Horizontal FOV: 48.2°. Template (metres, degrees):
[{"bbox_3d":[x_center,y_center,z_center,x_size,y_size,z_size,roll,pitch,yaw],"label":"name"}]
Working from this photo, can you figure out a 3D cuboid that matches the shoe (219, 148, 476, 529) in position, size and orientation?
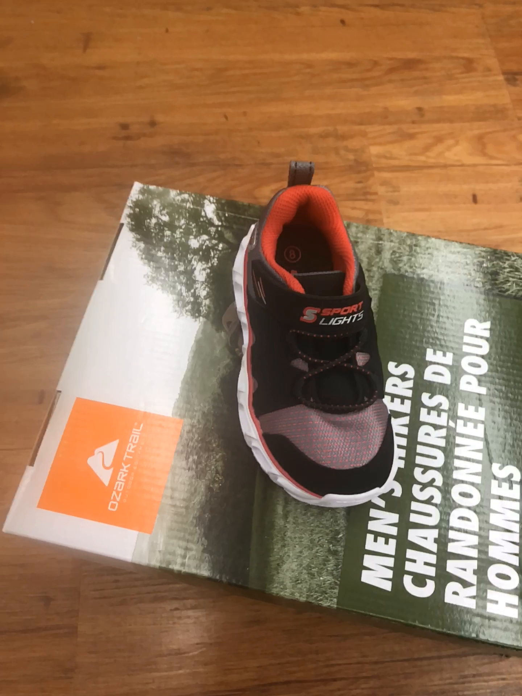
[{"bbox_3d":[0.031,-0.004,0.305,0.090,0.090,0.170,-5,65,-4],"label":"shoe"}]
